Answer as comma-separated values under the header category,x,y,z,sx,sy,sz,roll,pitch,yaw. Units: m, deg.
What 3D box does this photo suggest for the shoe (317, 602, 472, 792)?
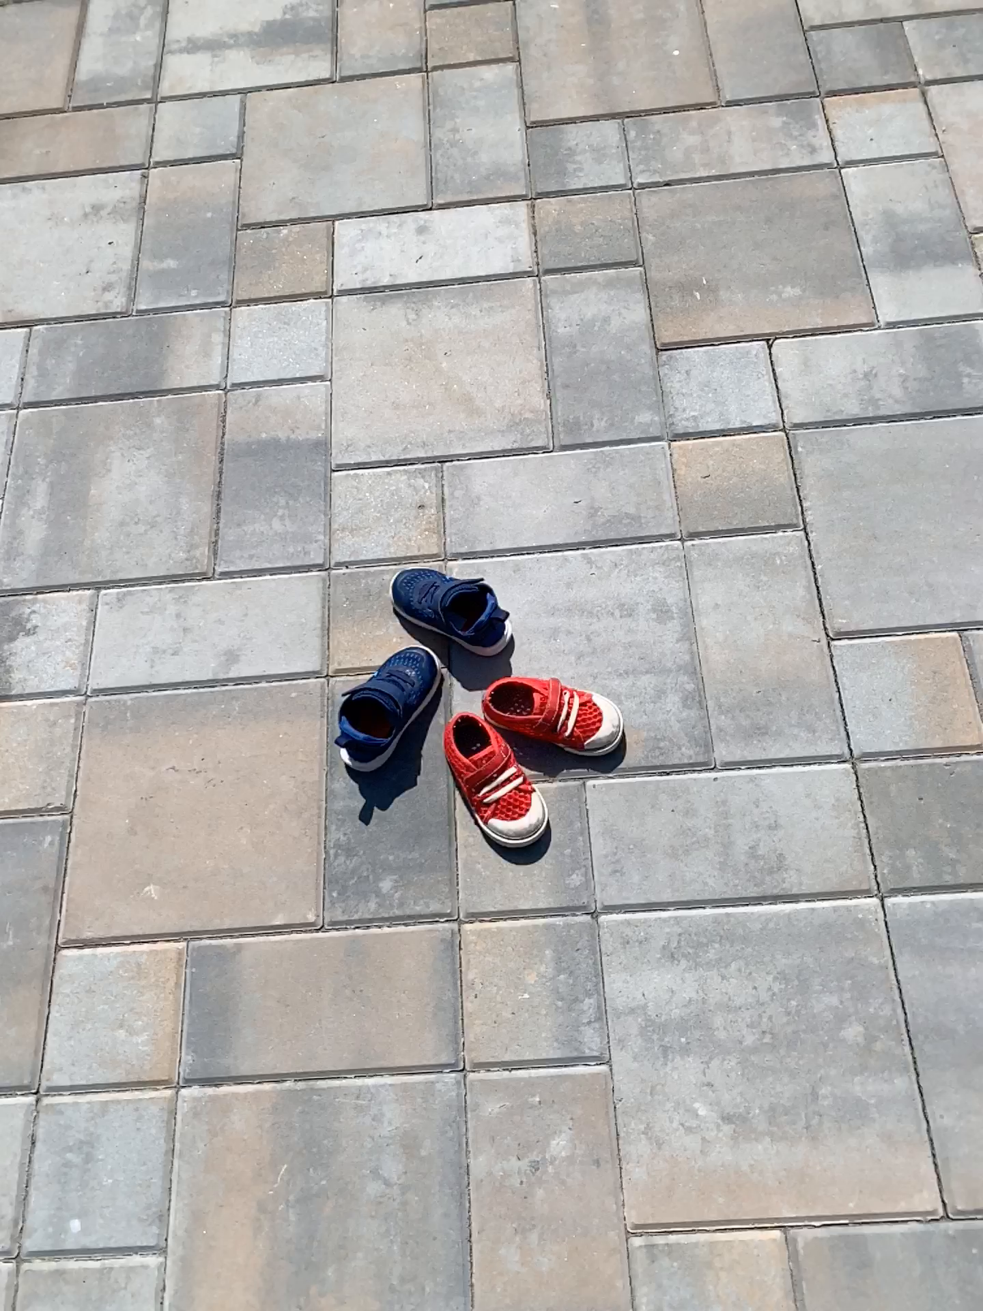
category,x,y,z,sx,sy,sz,roll,pitch,yaw
shoe,-0.108,0.048,1.163,0.090,0.090,0.180,24,71,14

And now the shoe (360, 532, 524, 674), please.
category,x,y,z,sx,sy,sz,roll,pitch,yaw
shoe,-0.056,-0.062,1.183,0.170,0.070,0.080,28,71,15

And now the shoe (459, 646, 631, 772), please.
category,x,y,z,sx,sy,sz,roll,pitch,yaw
shoe,0.060,0.059,1.112,0.170,0.070,0.080,14,68,11

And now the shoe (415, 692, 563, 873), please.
category,x,y,z,sx,sy,sz,roll,pitch,yaw
shoe,-0.003,0.140,1.110,0.080,0.070,0.170,-32,68,-9
